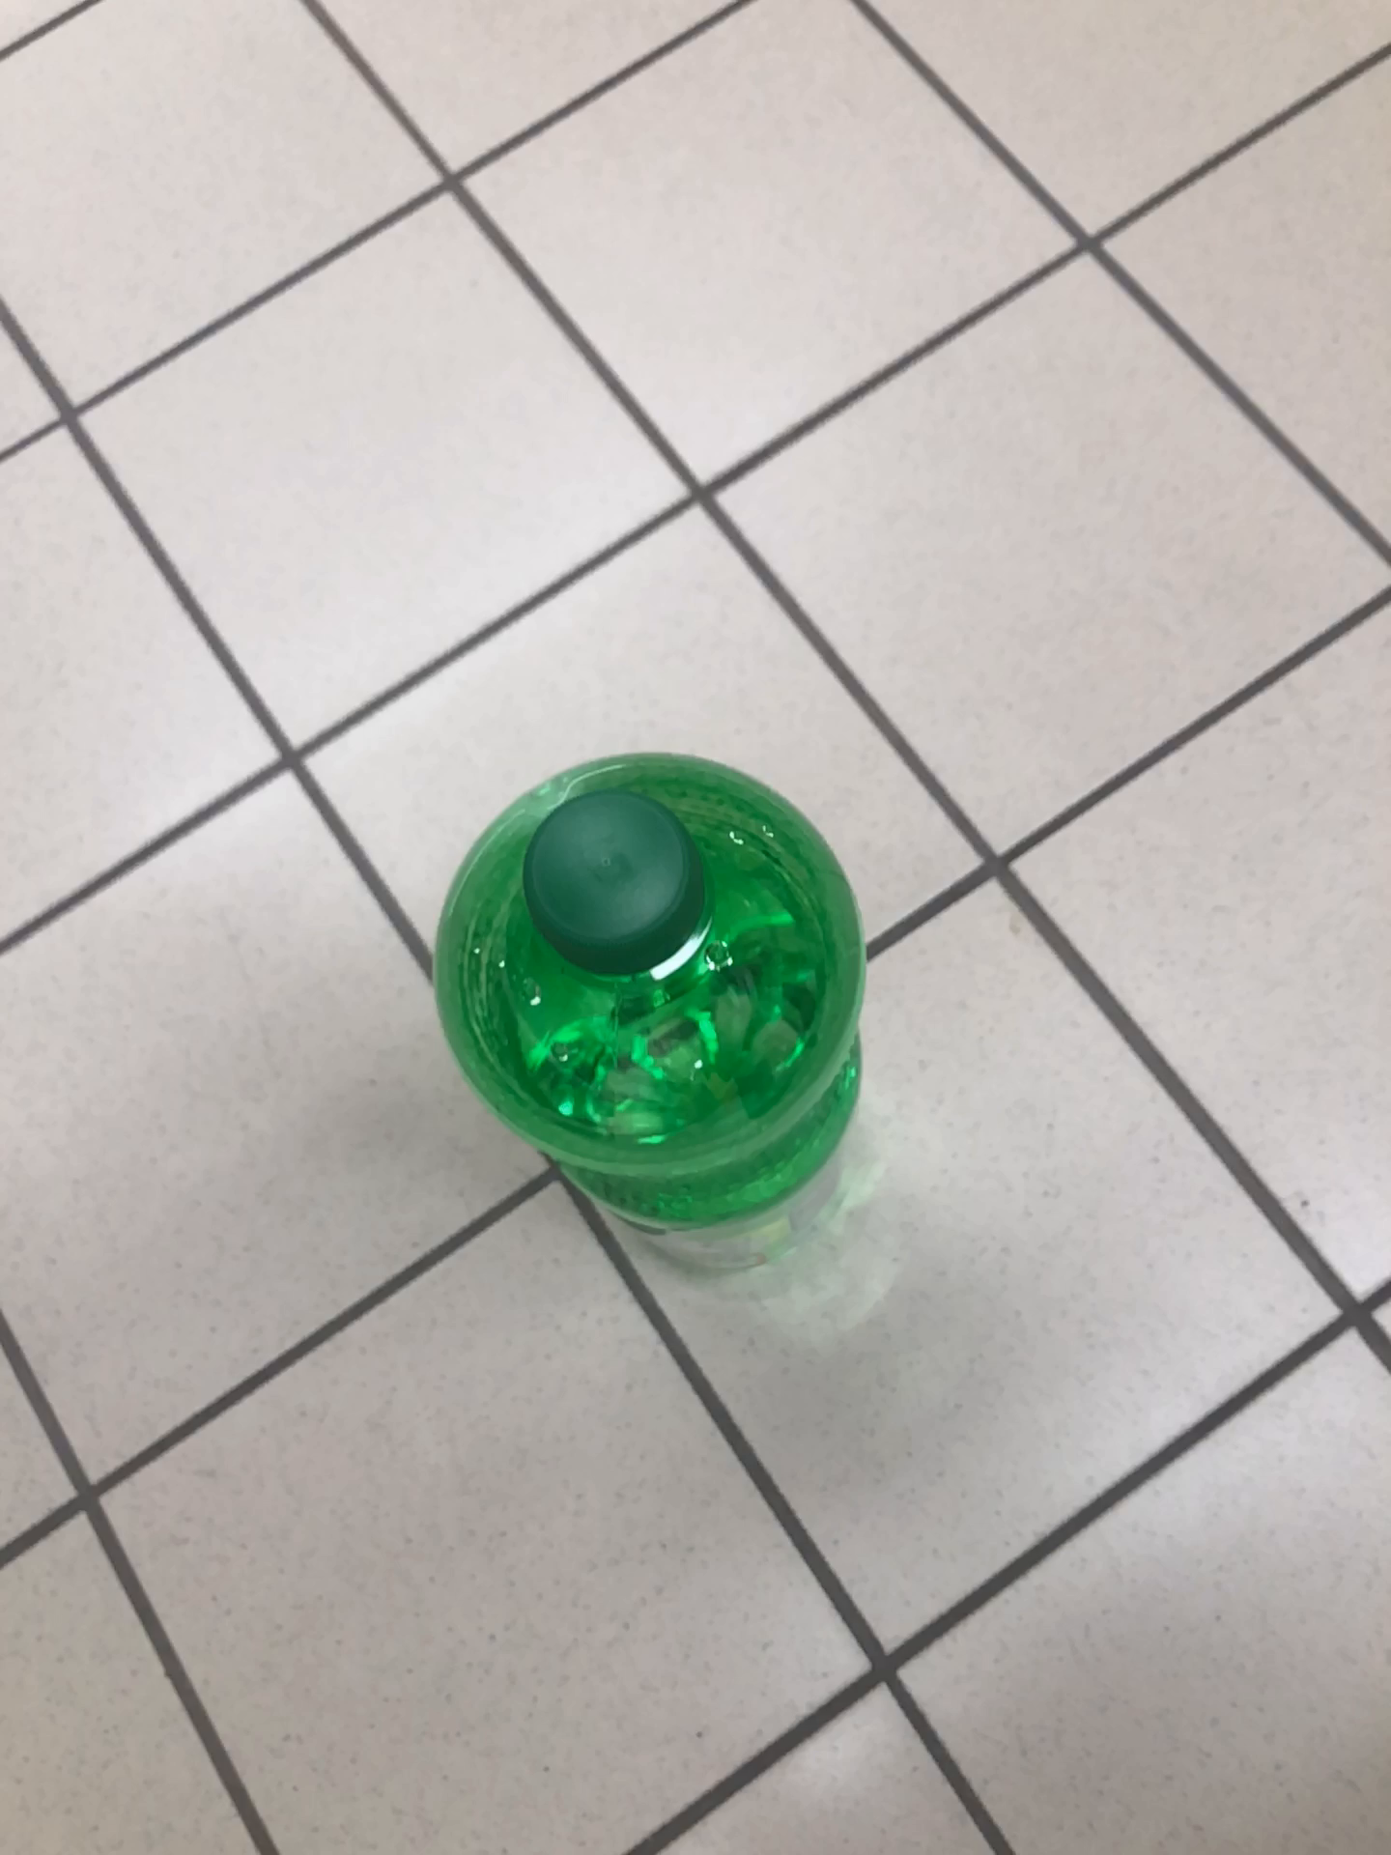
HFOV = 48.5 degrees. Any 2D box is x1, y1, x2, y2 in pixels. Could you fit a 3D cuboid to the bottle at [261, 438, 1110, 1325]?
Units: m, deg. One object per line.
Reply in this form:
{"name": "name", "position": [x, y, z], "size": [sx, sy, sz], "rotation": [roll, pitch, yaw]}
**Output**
{"name": "bottle", "position": [0.011, 0.026, 0.404], "size": [0.100, 0.320, 0.100], "rotation": [-1, 73, 4]}
